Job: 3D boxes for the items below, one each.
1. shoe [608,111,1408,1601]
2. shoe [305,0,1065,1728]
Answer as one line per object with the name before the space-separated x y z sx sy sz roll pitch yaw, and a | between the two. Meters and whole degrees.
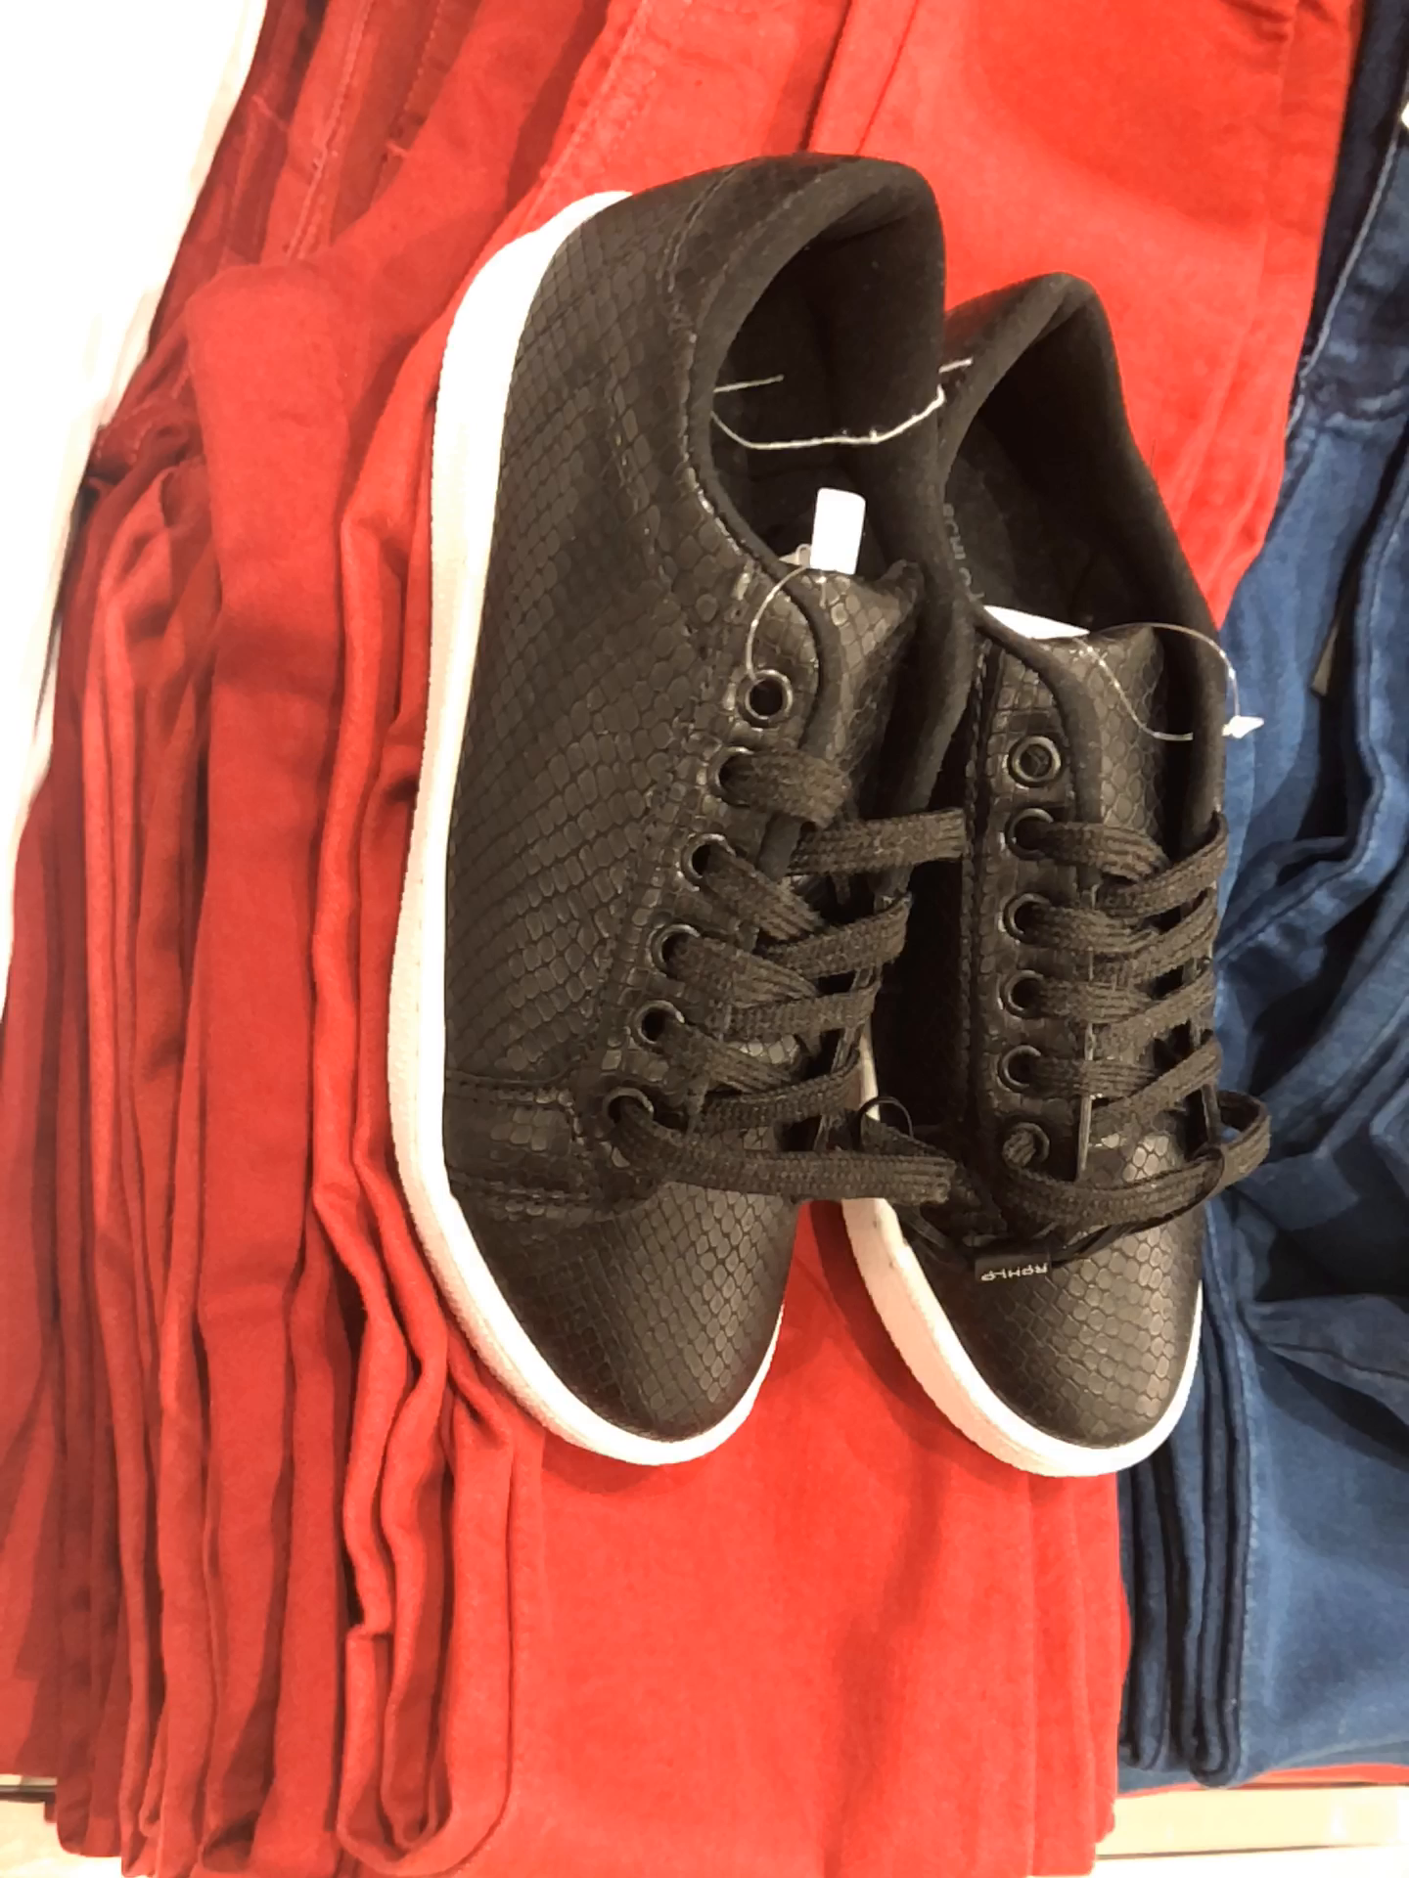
shoe | 0.067 -0.015 0.320 0.090 0.099 0.250 -8 82 -33
shoe | -0.006 -0.021 0.273 0.091 0.099 0.250 -1 91 -36
